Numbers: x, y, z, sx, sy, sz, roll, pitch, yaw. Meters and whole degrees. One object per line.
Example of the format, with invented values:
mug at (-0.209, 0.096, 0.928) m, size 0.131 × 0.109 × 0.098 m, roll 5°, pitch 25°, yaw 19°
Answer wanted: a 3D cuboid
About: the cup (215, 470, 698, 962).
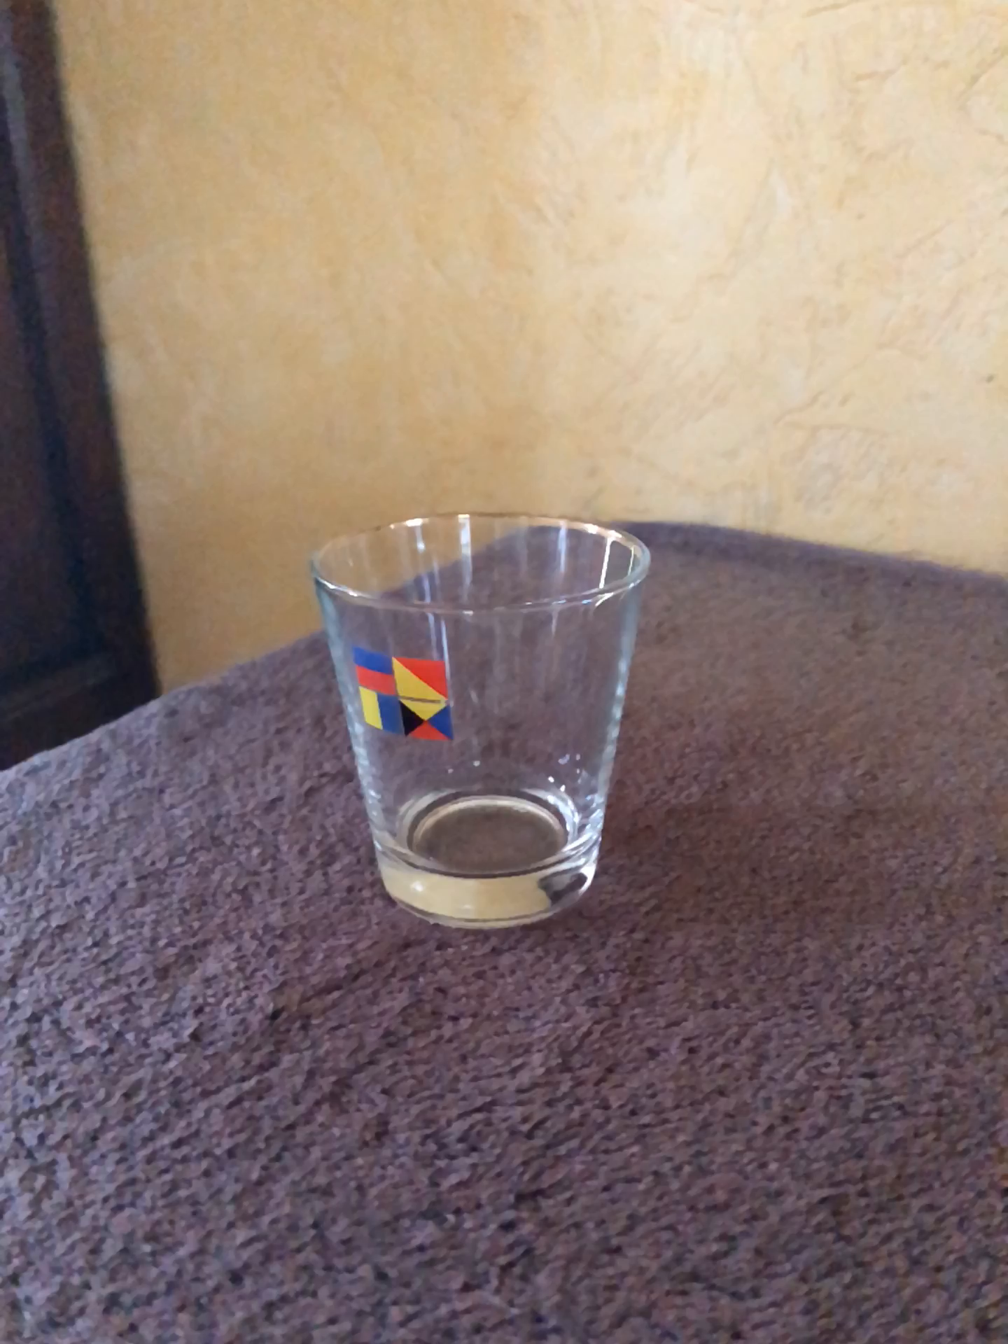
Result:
cup at (-0.005, 0.003, 0.264) m, size 0.080 × 0.080 × 0.080 m, roll -2°, pitch 22°, yaw 1°
